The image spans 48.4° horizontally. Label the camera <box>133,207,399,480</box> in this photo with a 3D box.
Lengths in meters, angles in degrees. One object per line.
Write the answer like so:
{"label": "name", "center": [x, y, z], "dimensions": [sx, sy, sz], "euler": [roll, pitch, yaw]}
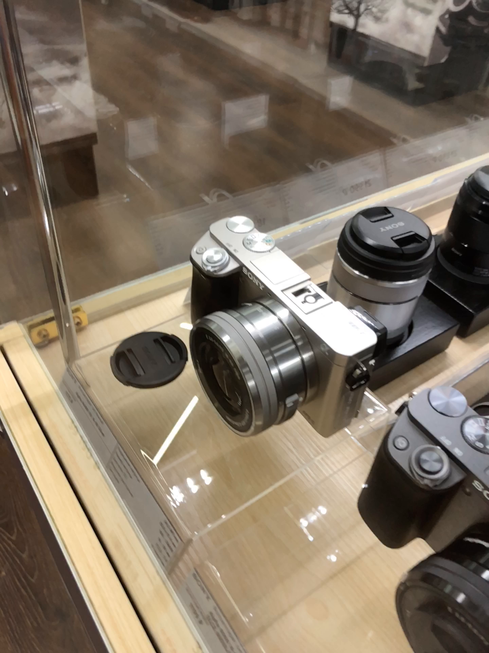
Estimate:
{"label": "camera", "center": [0.004, 0.001, 0.293], "dimensions": [0.076, 0.061, 0.124], "euler": [-23, 50, -26]}

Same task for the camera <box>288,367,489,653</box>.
{"label": "camera", "center": [0.088, 0.092, 0.208], "dimensions": [0.076, 0.061, 0.128], "euler": [-23, 50, -26]}
